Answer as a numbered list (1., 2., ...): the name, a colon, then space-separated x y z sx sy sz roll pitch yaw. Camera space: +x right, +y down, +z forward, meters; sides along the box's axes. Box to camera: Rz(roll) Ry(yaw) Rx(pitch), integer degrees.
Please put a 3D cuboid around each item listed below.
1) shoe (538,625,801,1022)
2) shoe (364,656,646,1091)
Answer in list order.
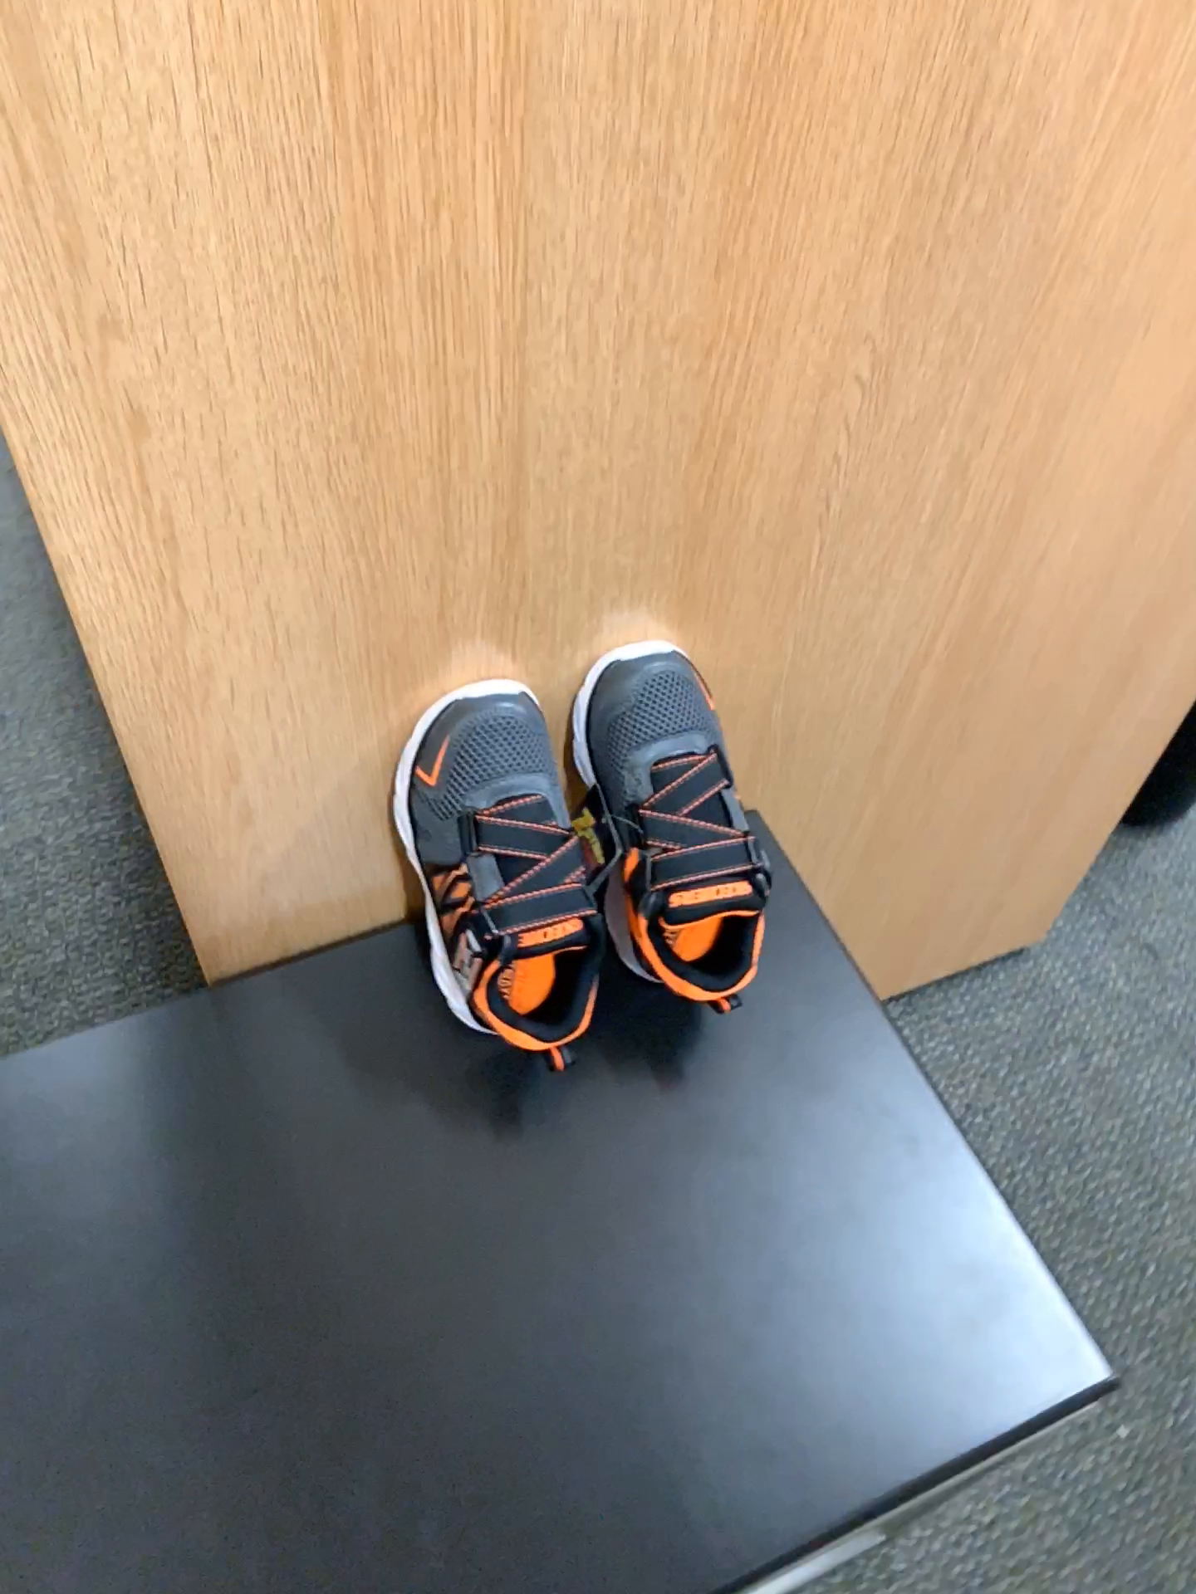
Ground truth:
1. shoe: 0.039 0.010 0.673 0.090 0.180 0.100 -15 20 -15
2. shoe: -0.047 0.034 0.623 0.090 0.180 0.100 -15 20 -15
